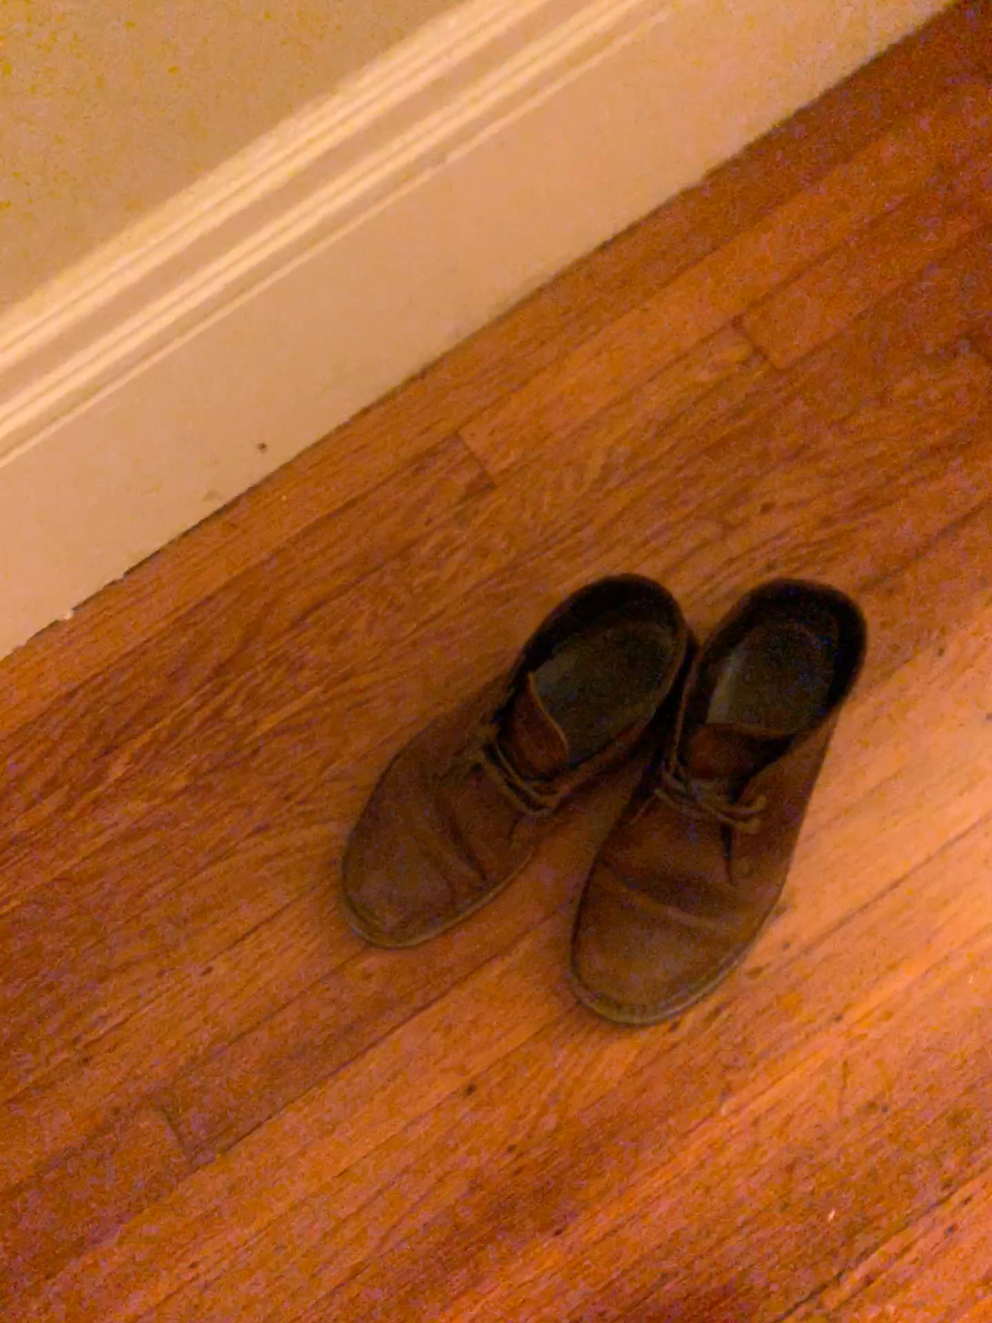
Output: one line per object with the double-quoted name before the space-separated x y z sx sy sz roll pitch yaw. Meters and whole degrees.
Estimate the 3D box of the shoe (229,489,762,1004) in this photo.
"shoe" 0.005 0.054 0.623 0.290 0.120 0.120 -42 77 -4

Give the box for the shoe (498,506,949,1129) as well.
"shoe" 0.127 0.084 0.593 0.120 0.120 0.300 25 81 11
